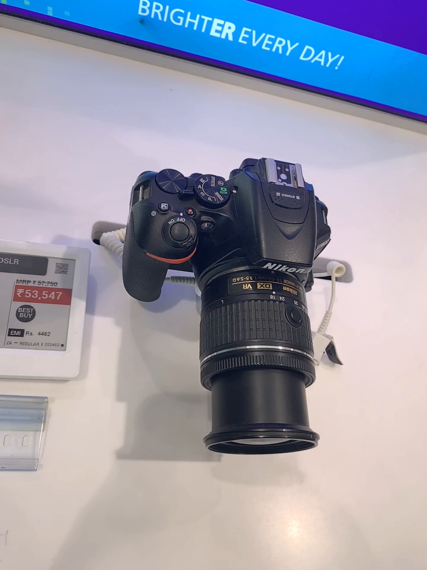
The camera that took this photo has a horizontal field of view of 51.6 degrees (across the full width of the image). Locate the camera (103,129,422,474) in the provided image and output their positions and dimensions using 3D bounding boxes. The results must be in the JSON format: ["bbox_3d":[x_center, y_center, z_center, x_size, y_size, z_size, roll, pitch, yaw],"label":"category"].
[{"bbox_3d":[0.009,0.016,0.232,0.116,0.100,0.141,5,60,-14],"label":"camera"}]
